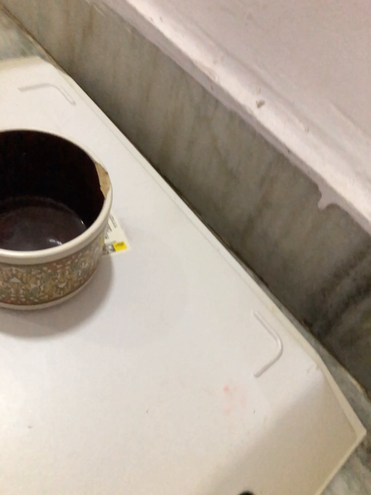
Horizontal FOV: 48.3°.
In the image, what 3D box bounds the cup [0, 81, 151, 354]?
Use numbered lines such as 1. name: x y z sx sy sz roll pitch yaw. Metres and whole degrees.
1. cup: -0.084 -0.020 0.206 0.080 0.060 0.100 -28 68 -33
